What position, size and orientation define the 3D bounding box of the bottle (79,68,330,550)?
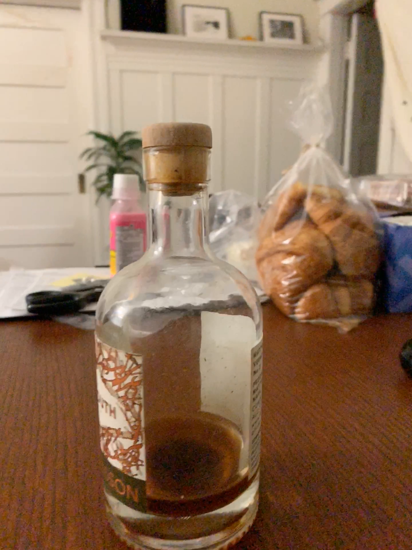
[{"bbox_3d":[-0.010,0.022,0.196,0.080,0.189,0.090,-3,12,-17],"label":"bottle"}]
